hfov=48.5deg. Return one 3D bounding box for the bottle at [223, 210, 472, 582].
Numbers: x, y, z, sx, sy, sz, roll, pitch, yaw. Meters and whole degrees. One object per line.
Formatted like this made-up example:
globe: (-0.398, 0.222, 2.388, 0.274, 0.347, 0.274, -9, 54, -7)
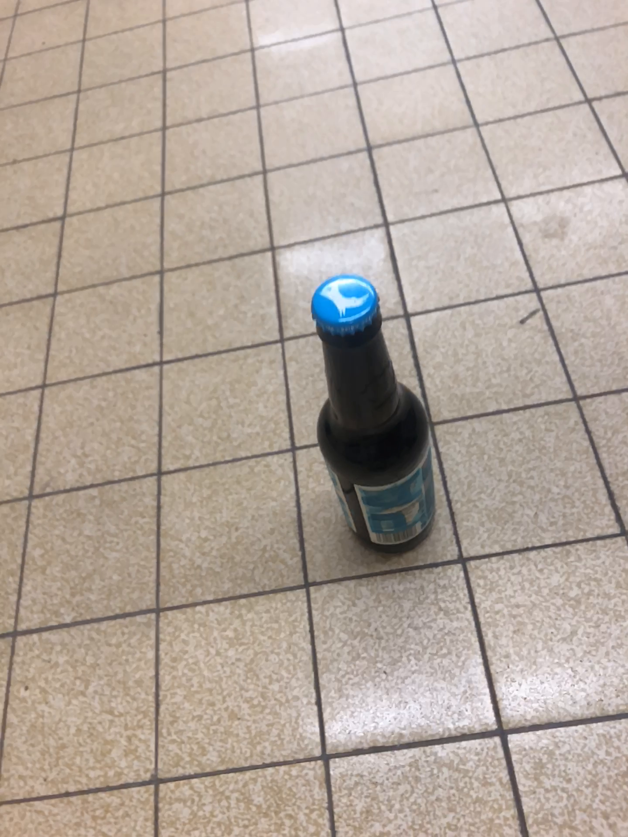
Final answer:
bottle: (0.031, 0.005, 0.363, 0.070, 0.209, 0.070, -5, 59, 9)
